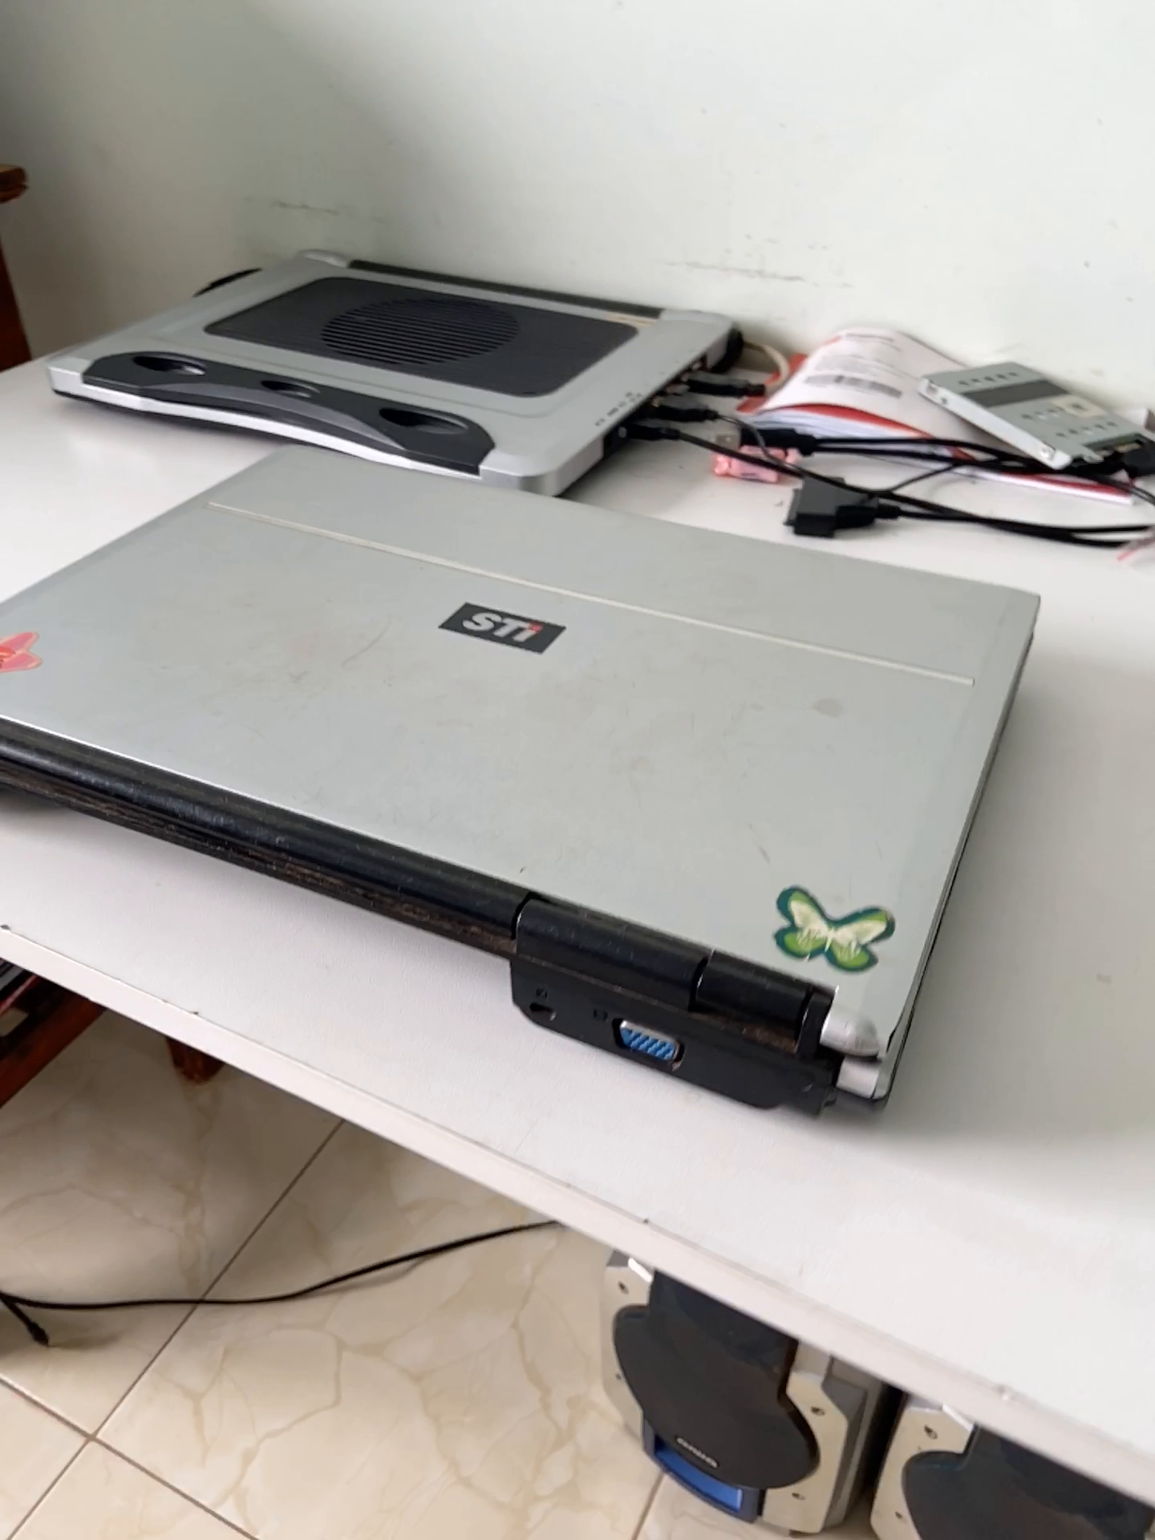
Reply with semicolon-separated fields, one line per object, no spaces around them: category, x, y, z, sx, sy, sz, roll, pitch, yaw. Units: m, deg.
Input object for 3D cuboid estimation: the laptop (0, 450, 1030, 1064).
laptop;-0.033;-0.042;0.417;0.339;0.004;0.235;16;39;20
